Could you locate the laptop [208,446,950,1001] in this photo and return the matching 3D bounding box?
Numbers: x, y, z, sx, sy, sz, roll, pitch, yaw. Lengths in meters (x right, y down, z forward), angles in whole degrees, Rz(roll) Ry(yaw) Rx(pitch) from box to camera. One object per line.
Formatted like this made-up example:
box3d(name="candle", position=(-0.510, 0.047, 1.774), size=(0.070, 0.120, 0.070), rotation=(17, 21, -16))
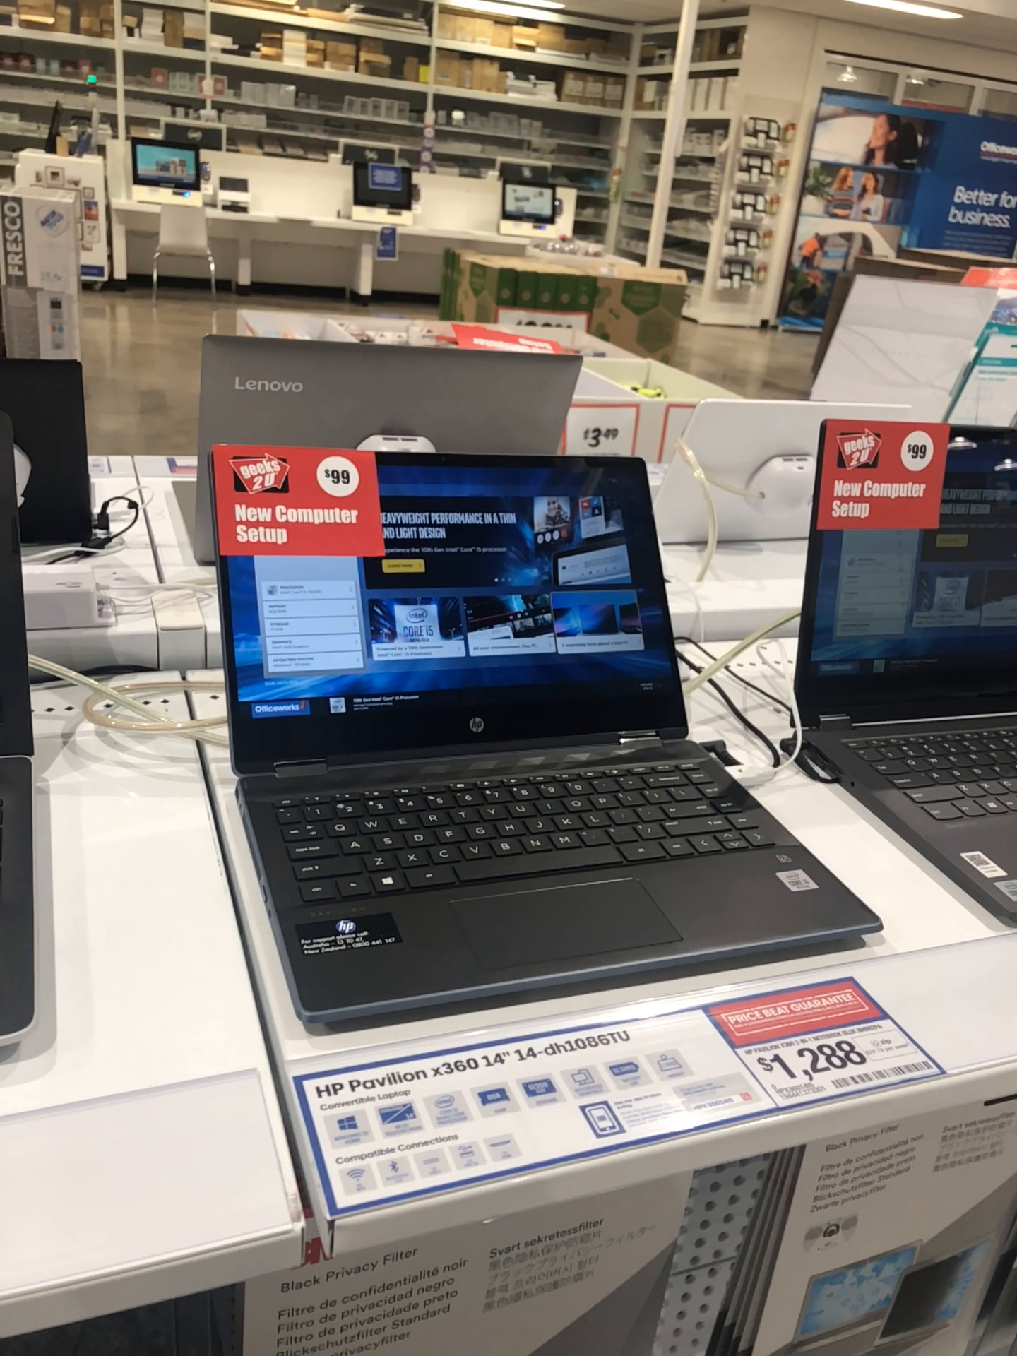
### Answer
box3d(name="laptop", position=(0.002, -0.011, 0.674), size=(0.315, 0.165, 0.350), rotation=(-3, 26, -21))
